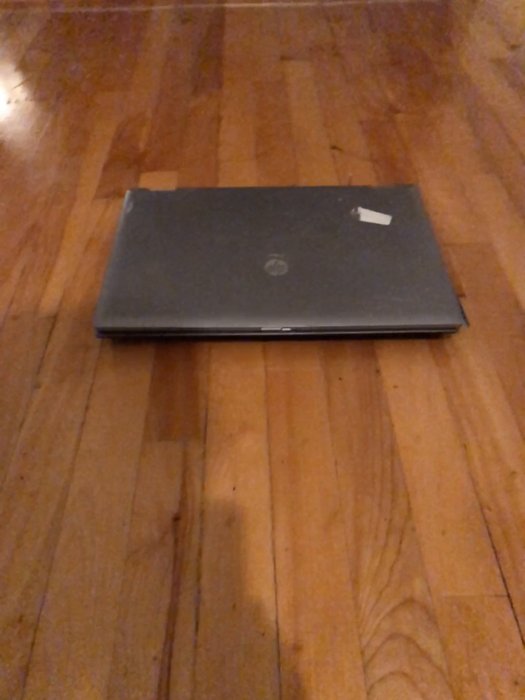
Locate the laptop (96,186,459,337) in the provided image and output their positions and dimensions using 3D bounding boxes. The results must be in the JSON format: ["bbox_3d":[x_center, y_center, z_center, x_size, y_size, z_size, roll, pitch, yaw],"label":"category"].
[{"bbox_3d":[0.015,-0.111,0.659,0.362,0.010,0.242,-1,49,0],"label":"laptop"}]
